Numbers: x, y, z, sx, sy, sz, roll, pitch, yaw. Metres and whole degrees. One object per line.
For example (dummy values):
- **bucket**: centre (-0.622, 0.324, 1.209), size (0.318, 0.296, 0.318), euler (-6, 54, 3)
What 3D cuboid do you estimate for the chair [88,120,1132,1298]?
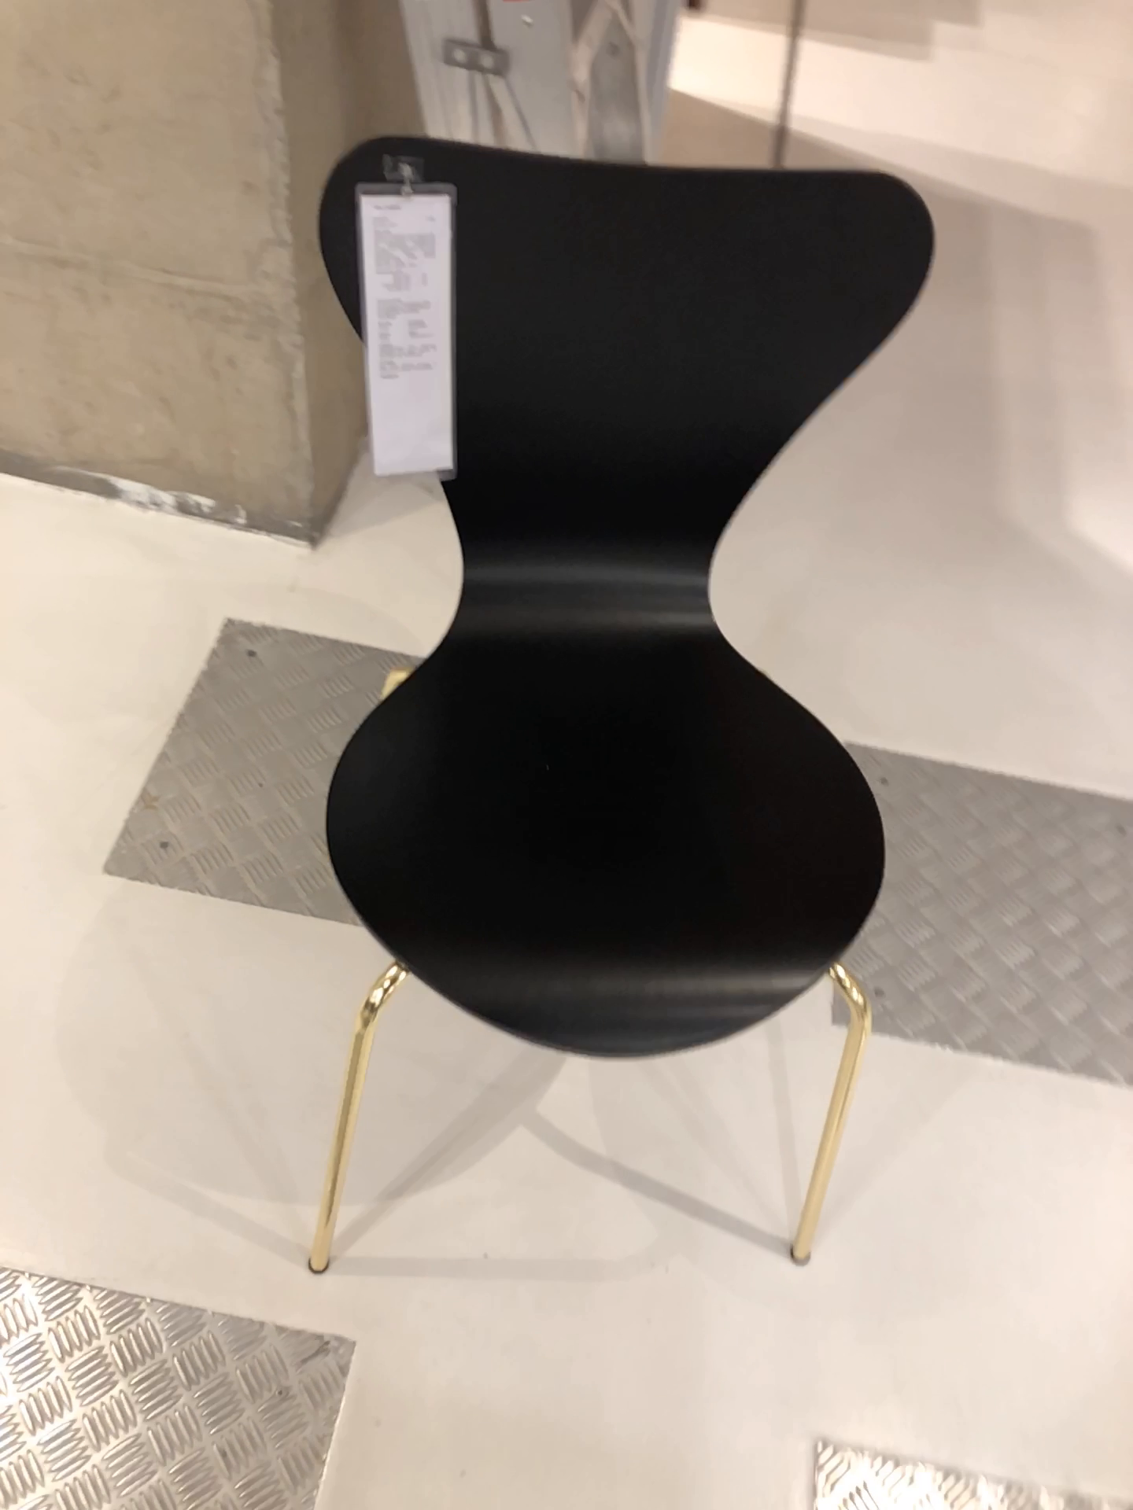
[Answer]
- **chair**: centre (0.019, 0.040, 0.989), size (0.510, 0.775, 0.543), euler (2, 52, -6)
